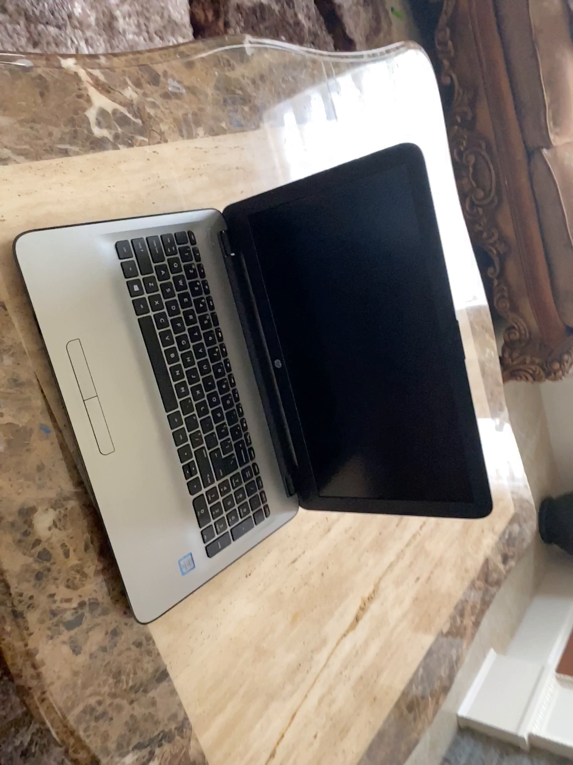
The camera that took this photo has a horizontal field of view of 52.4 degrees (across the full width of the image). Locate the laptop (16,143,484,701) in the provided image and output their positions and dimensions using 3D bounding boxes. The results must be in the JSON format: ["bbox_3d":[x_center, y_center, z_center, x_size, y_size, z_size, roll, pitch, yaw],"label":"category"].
[{"bbox_3d":[-0.012,0.010,0.543,0.266,0.240,0.371,-26,106,-47],"label":"laptop"}]
